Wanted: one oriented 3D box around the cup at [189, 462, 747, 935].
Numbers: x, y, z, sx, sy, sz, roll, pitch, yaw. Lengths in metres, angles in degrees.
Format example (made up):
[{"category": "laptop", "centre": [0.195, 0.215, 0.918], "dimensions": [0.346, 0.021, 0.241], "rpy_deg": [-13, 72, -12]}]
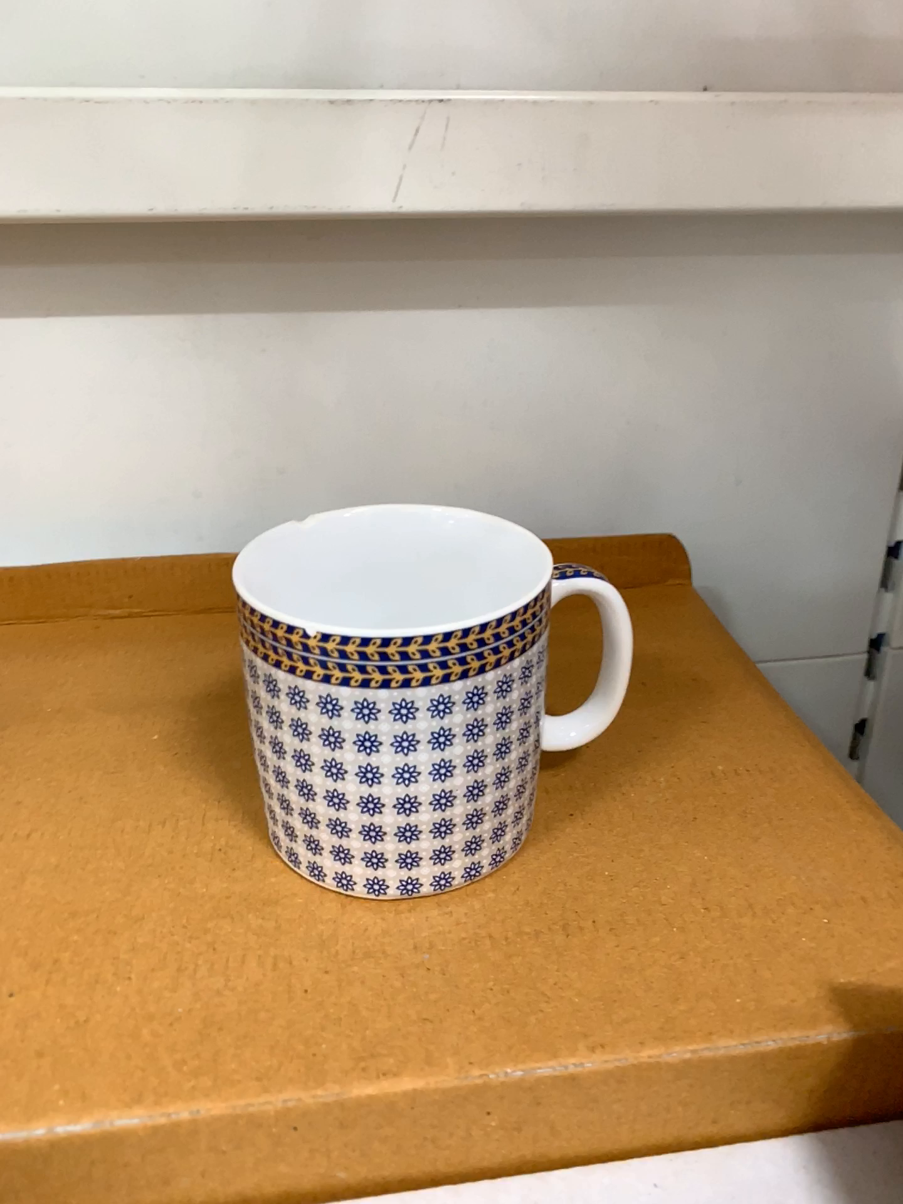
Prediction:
[{"category": "cup", "centre": [-0.002, 0.015, 0.232], "dimensions": [0.110, 0.069, 0.081], "rpy_deg": [-8, 25, -16]}]
